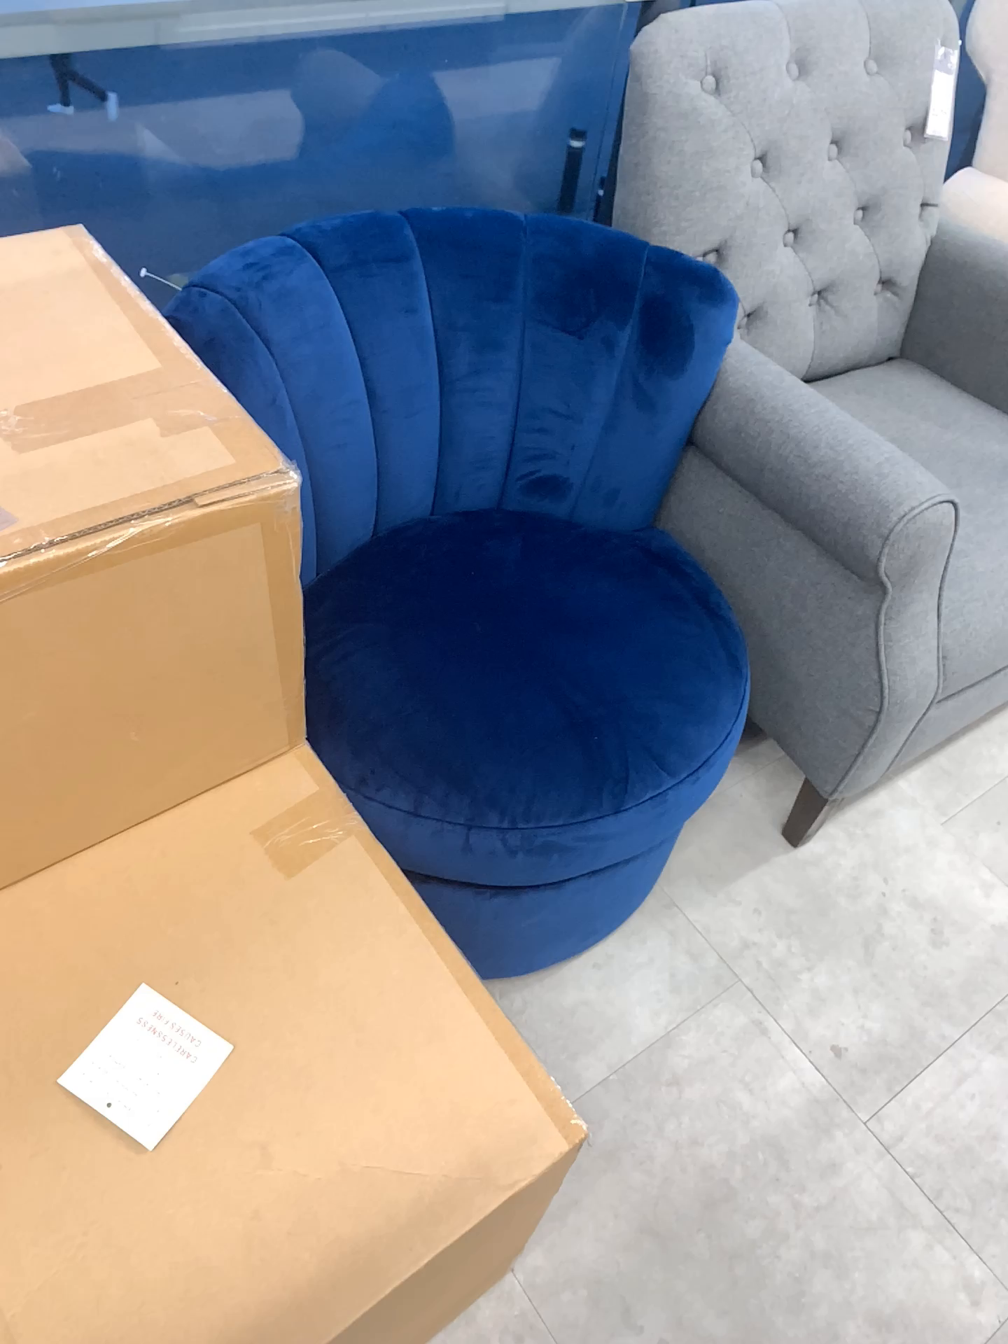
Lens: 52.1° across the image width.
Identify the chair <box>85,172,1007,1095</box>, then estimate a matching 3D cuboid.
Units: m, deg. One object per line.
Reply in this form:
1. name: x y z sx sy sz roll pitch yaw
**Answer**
1. chair: -0.021 -0.074 1.209 0.642 0.674 0.664 -17 53 -23
